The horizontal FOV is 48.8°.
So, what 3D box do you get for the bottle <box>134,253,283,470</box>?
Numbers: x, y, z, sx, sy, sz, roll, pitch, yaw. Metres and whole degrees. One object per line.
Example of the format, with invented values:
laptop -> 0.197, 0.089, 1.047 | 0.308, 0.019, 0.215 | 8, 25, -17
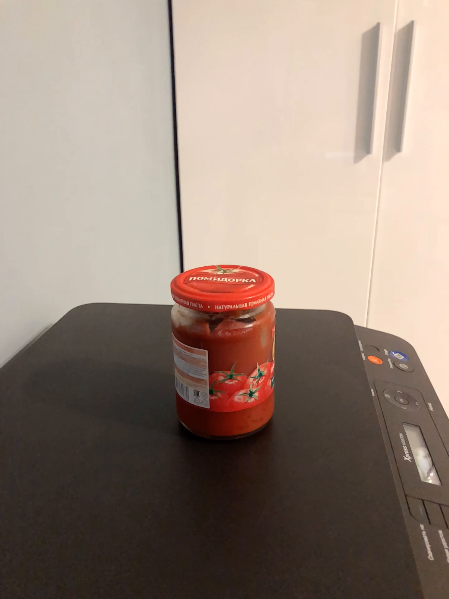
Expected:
bottle -> -0.006, 0.035, 0.330 | 0.070, 0.109, 0.080 | 7, 21, 18
